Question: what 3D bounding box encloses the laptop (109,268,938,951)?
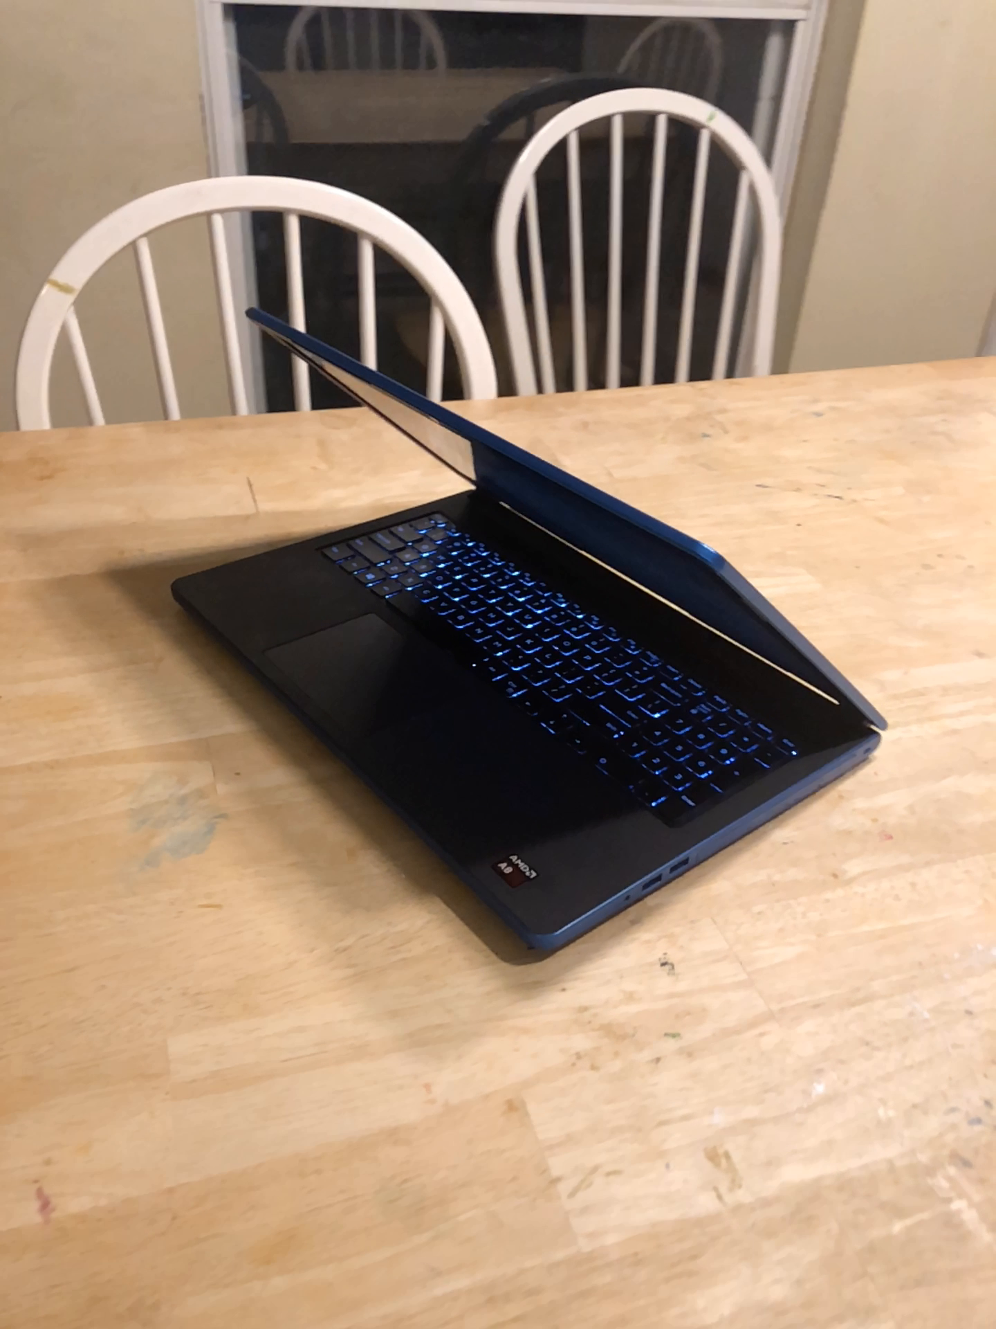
[{"bbox_3d":[-0.008,-0.073,0.600,0.249,0.159,0.362,-24,43,-33],"label":"laptop"}]
